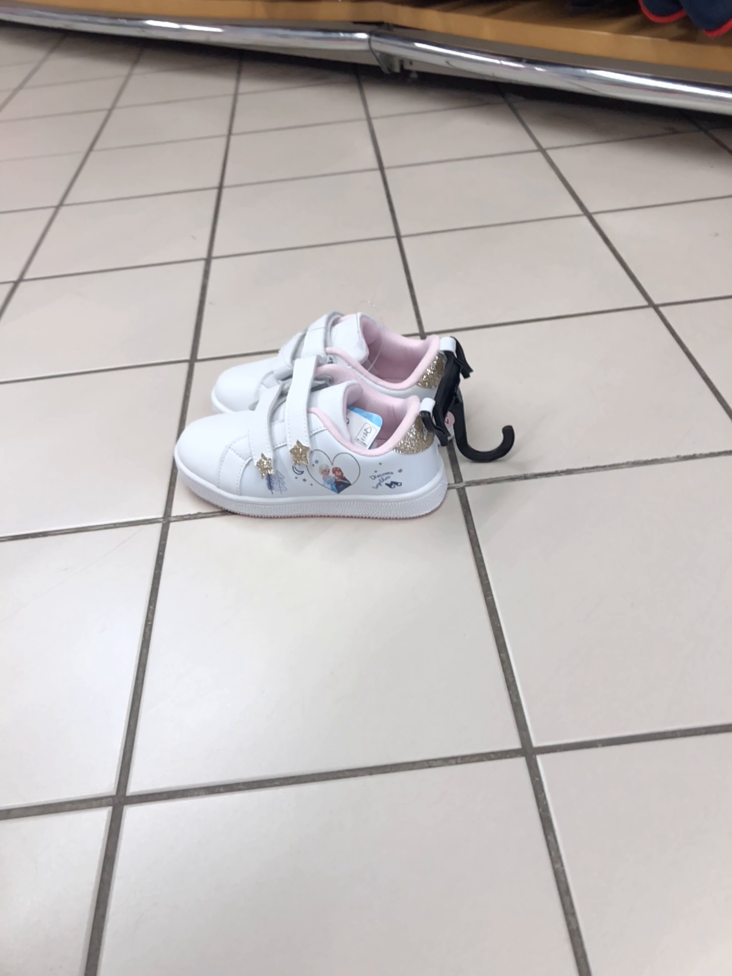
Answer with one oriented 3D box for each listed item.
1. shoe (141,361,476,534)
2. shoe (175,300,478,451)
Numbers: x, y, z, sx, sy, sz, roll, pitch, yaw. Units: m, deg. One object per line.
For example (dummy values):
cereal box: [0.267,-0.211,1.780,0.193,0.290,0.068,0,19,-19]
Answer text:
shoe: [-0.032,-0.030,0.535,0.200,0.070,0.081,4,42,12]
shoe: [-0.023,-0.085,0.587,0.200,0.070,0.081,4,42,12]
